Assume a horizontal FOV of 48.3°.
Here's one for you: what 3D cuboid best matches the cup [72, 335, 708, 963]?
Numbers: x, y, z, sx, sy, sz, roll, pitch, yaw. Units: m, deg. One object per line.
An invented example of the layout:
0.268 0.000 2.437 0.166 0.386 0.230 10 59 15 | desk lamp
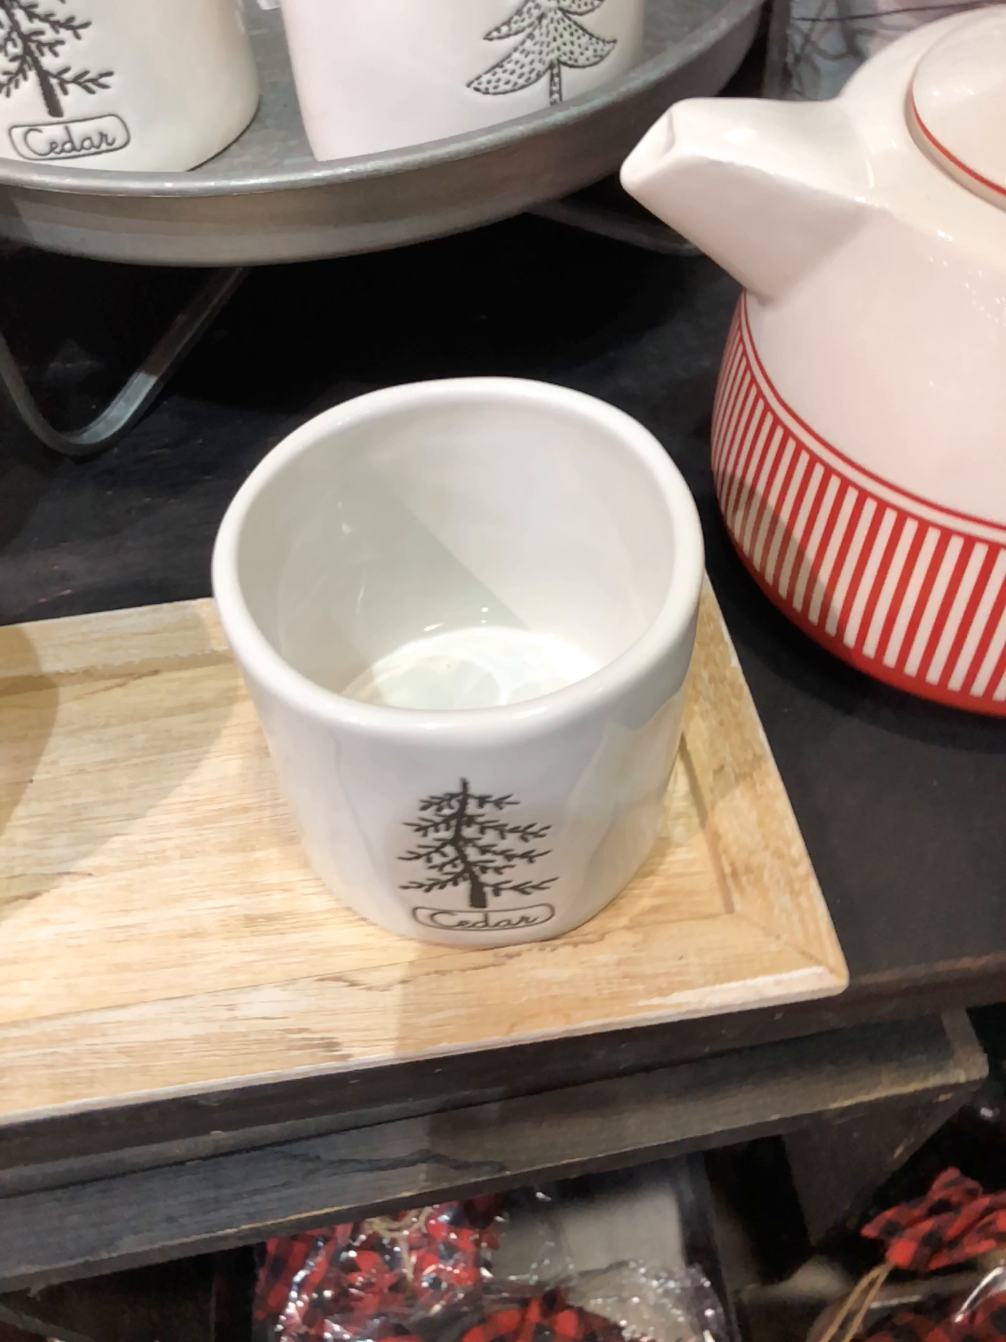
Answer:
-0.013 0.000 0.235 0.097 0.100 0.087 0 54 4 | cup
